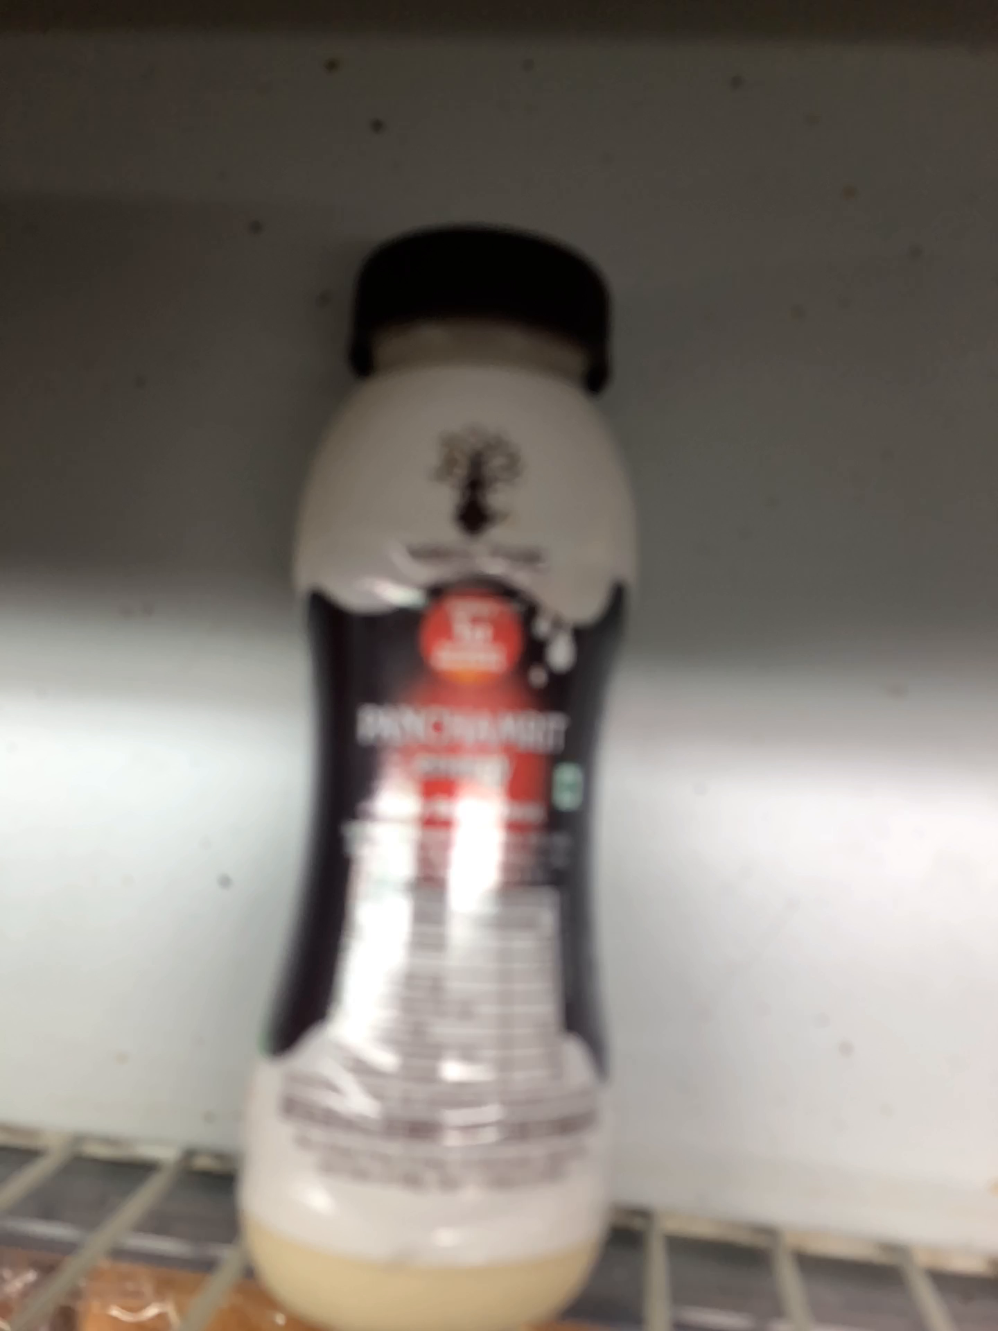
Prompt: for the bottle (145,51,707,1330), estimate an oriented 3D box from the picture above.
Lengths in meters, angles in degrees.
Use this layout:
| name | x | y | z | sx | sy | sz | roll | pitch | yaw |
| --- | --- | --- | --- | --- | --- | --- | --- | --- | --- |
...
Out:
| name | x | y | z | sx | sy | sz | roll | pitch | yaw |
| --- | --- | --- | --- | --- | --- | --- | --- | --- | --- |
| bottle | -0.008 | 0.004 | 0.164 | 0.060 | 0.060 | 0.160 | 3 | 84 | -3 |
